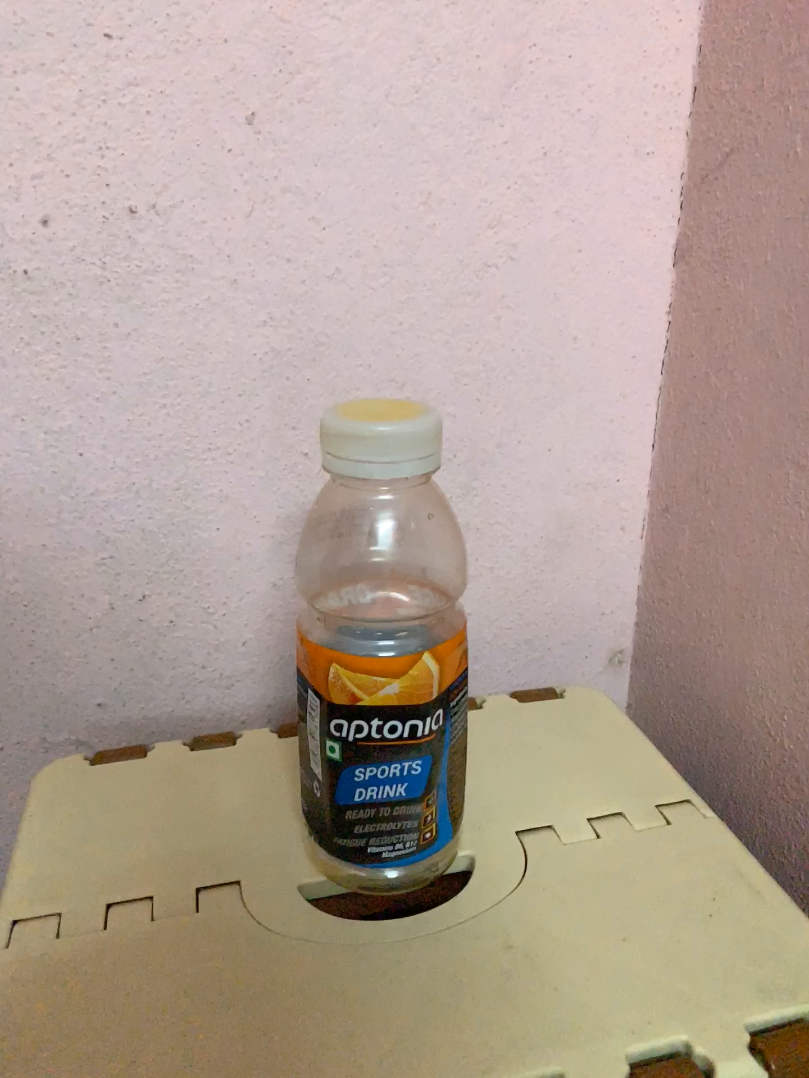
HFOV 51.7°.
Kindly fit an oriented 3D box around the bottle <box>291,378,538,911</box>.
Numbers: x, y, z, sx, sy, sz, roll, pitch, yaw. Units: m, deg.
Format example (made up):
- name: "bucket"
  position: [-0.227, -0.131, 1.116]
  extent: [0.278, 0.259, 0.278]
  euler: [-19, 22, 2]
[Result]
- name: "bottle"
  position: [0.000, 0.038, 0.303]
  extent: [0.070, 0.179, 0.060]
  euler: [-4, 21, -10]
